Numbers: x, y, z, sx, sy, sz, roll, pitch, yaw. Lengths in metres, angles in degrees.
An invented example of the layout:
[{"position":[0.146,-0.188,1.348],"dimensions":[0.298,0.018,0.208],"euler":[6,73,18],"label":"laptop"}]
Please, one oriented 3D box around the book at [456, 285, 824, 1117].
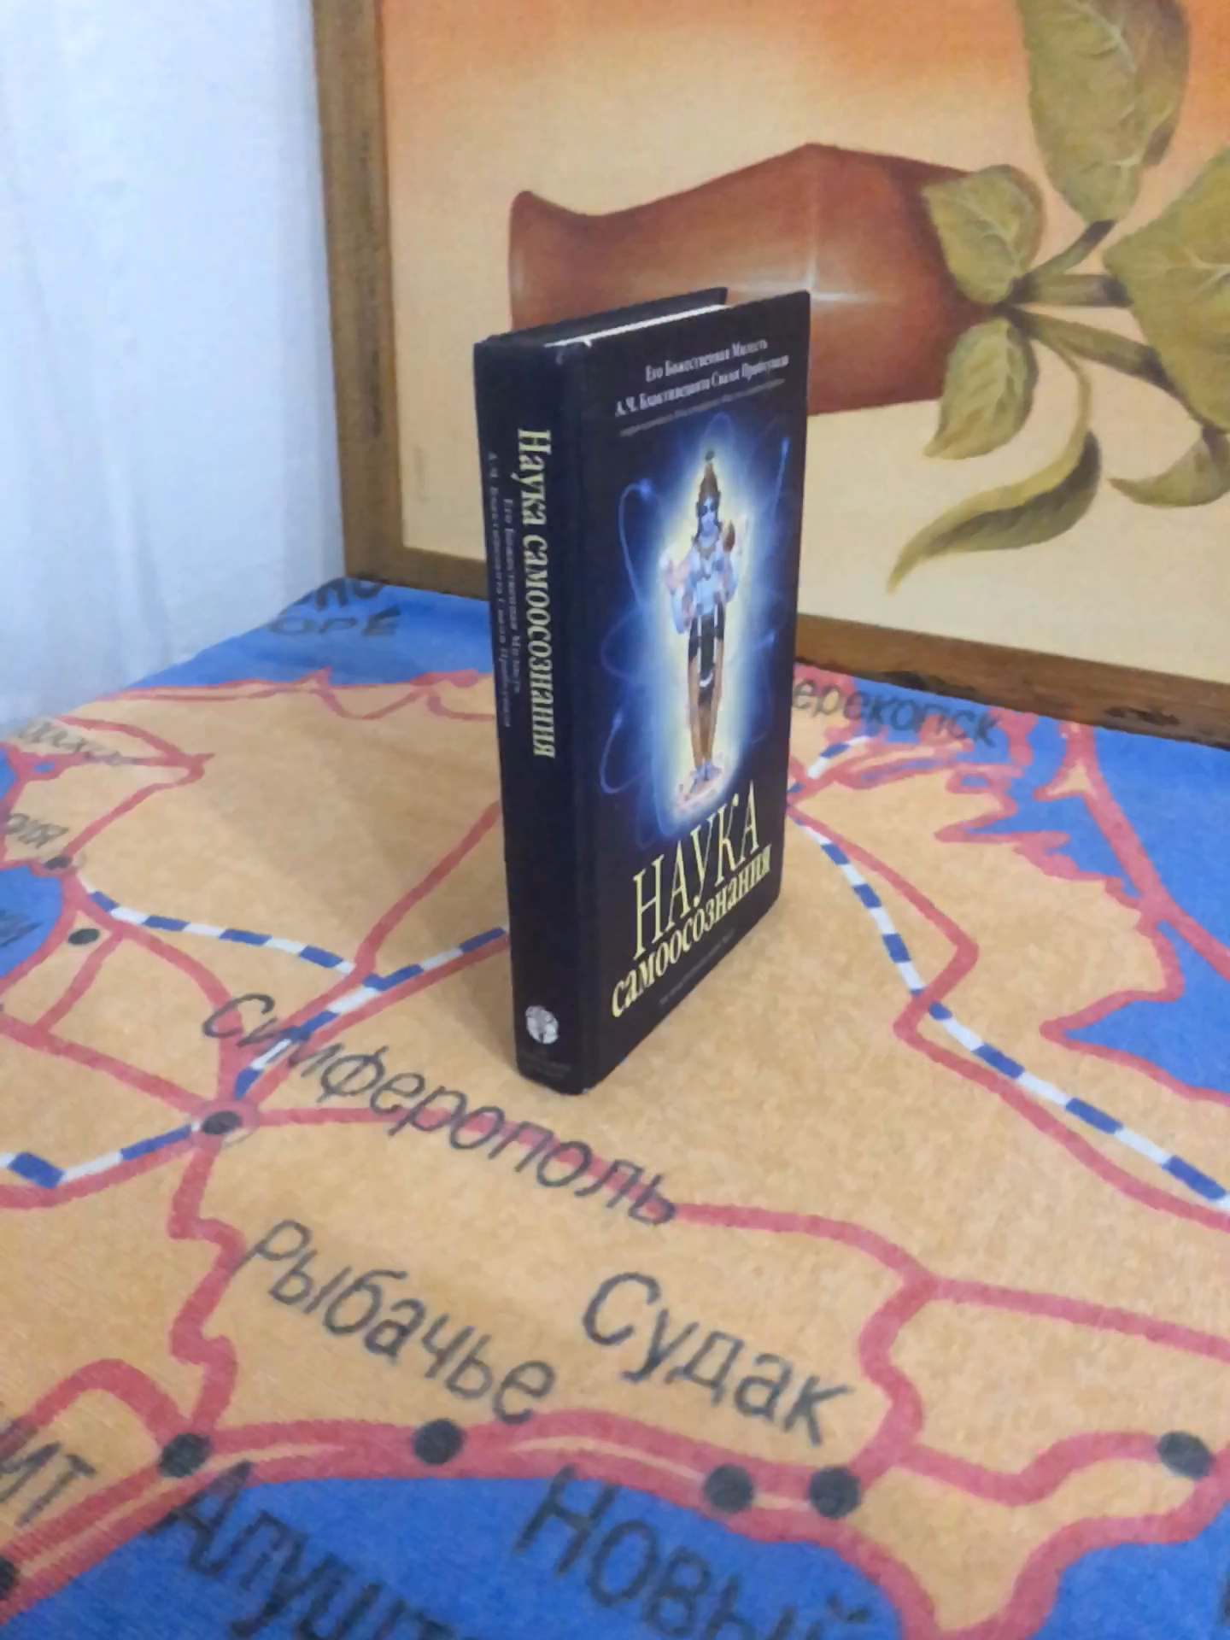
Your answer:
[{"position":[0.017,-0.040,0.395],"dimensions":[0.030,0.205,0.141],"euler":[13,29,28],"label":"book"}]
